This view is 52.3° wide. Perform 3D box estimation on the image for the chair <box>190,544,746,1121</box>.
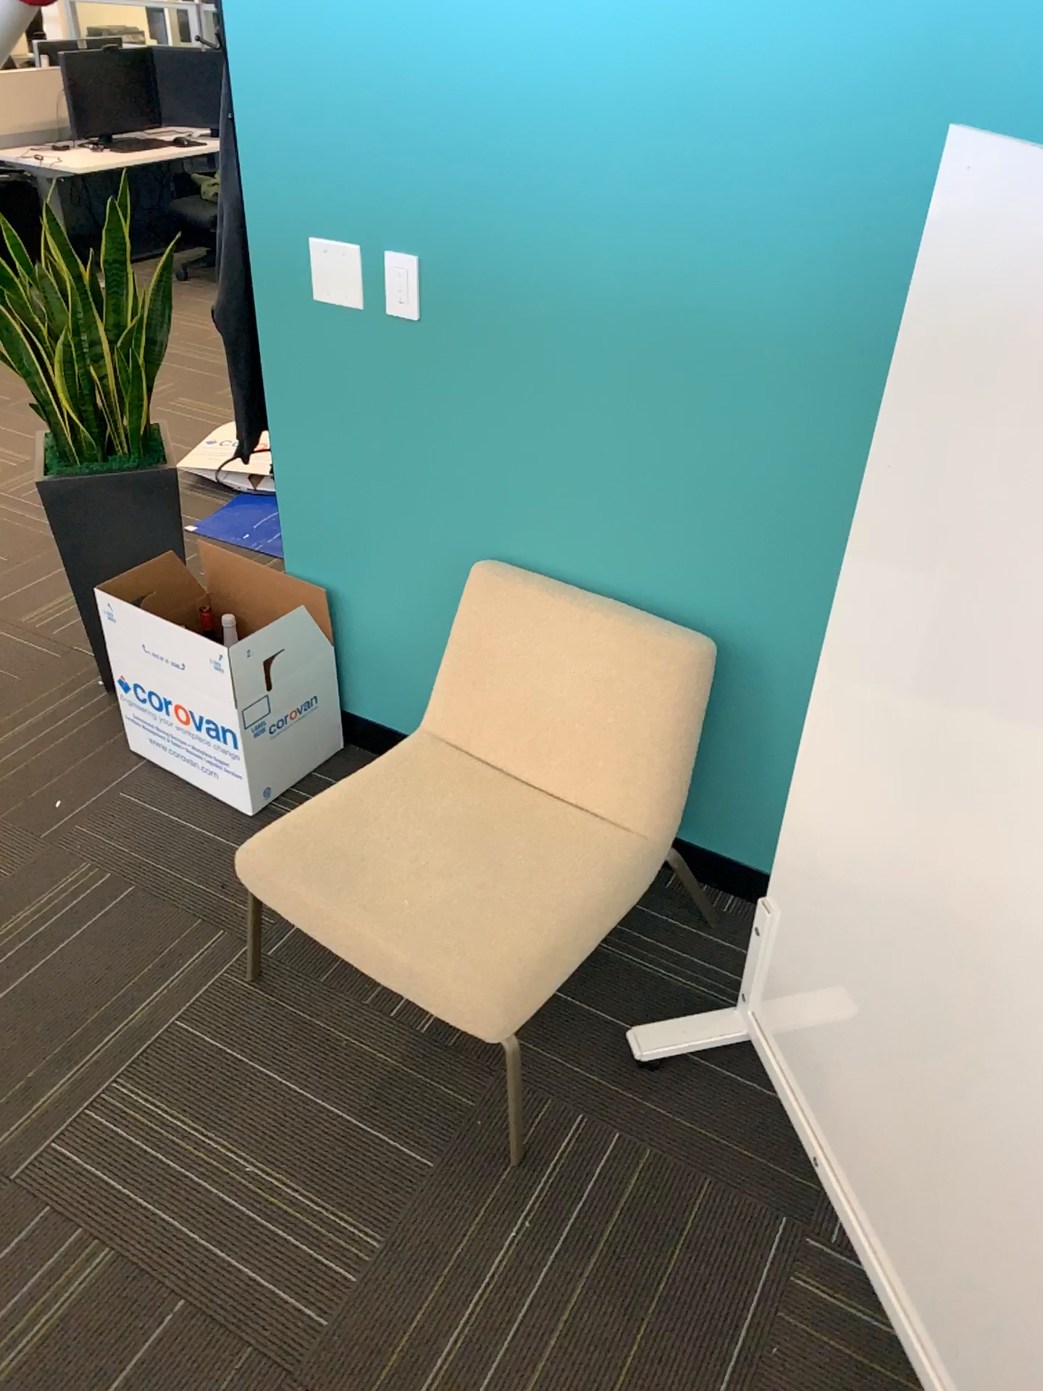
[{"bbox_3d":[-0.075,0.193,2.009,0.662,0.567,0.732,22,40,27],"label":"chair"}]
